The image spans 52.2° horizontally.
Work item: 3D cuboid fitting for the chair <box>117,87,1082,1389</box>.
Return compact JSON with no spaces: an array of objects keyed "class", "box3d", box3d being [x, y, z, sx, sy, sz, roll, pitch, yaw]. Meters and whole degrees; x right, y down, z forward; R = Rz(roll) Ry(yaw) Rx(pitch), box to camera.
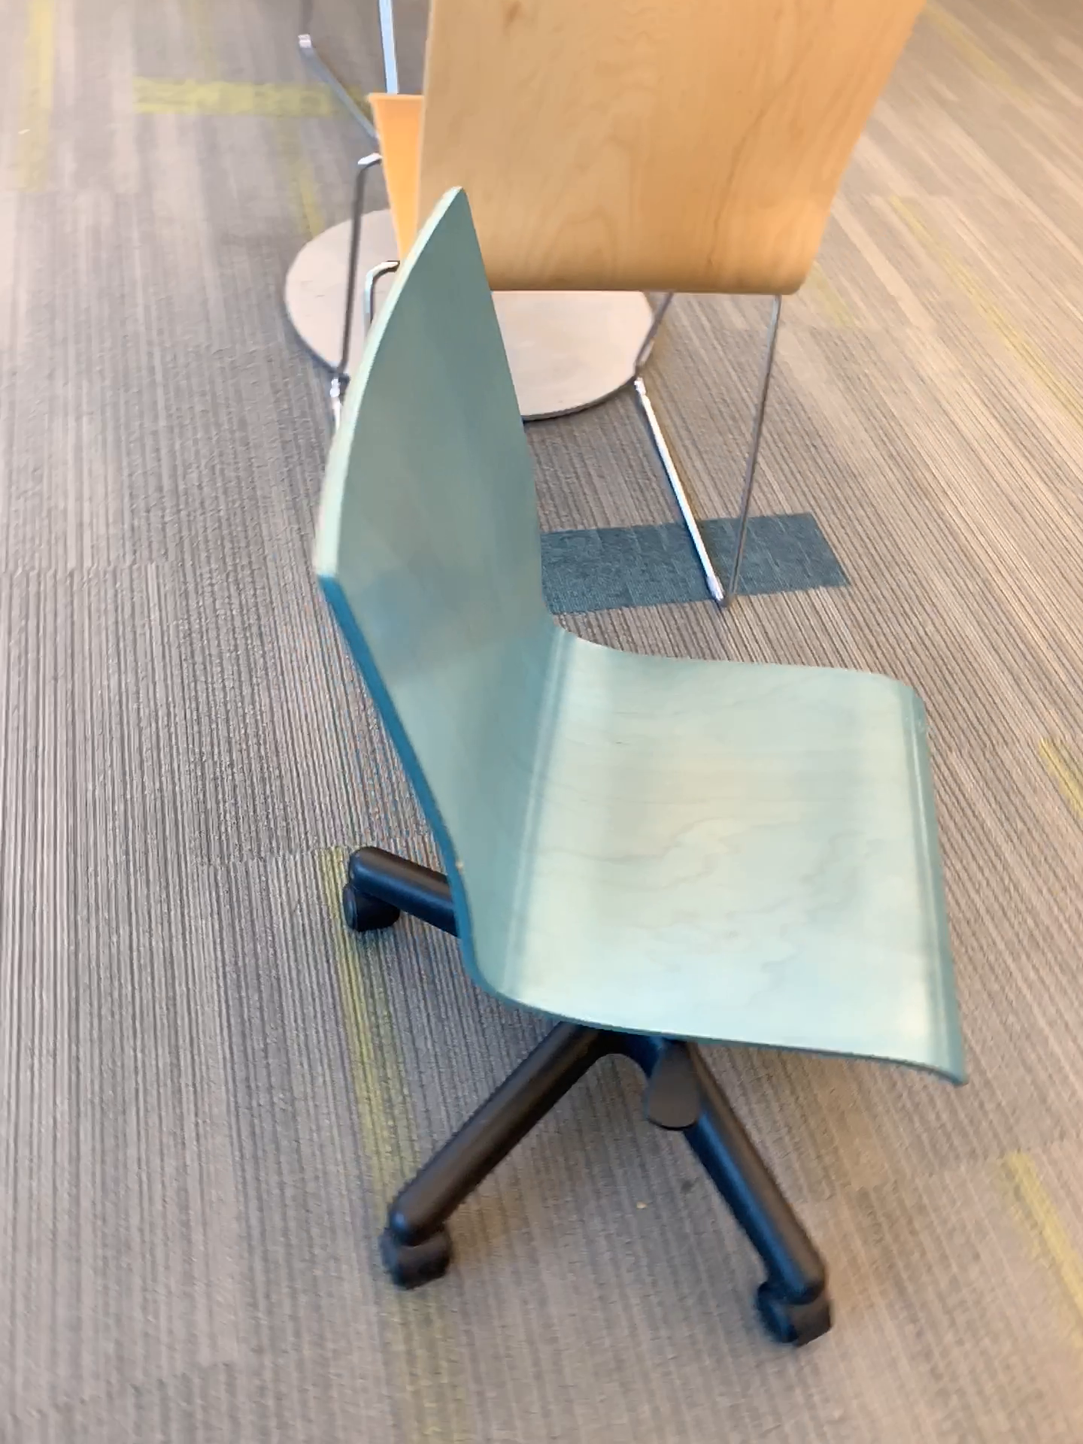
[{"class":"chair","box3d":[0.144,0.062,0.822,0.610,0.668,0.602,9,51,-3]}]
